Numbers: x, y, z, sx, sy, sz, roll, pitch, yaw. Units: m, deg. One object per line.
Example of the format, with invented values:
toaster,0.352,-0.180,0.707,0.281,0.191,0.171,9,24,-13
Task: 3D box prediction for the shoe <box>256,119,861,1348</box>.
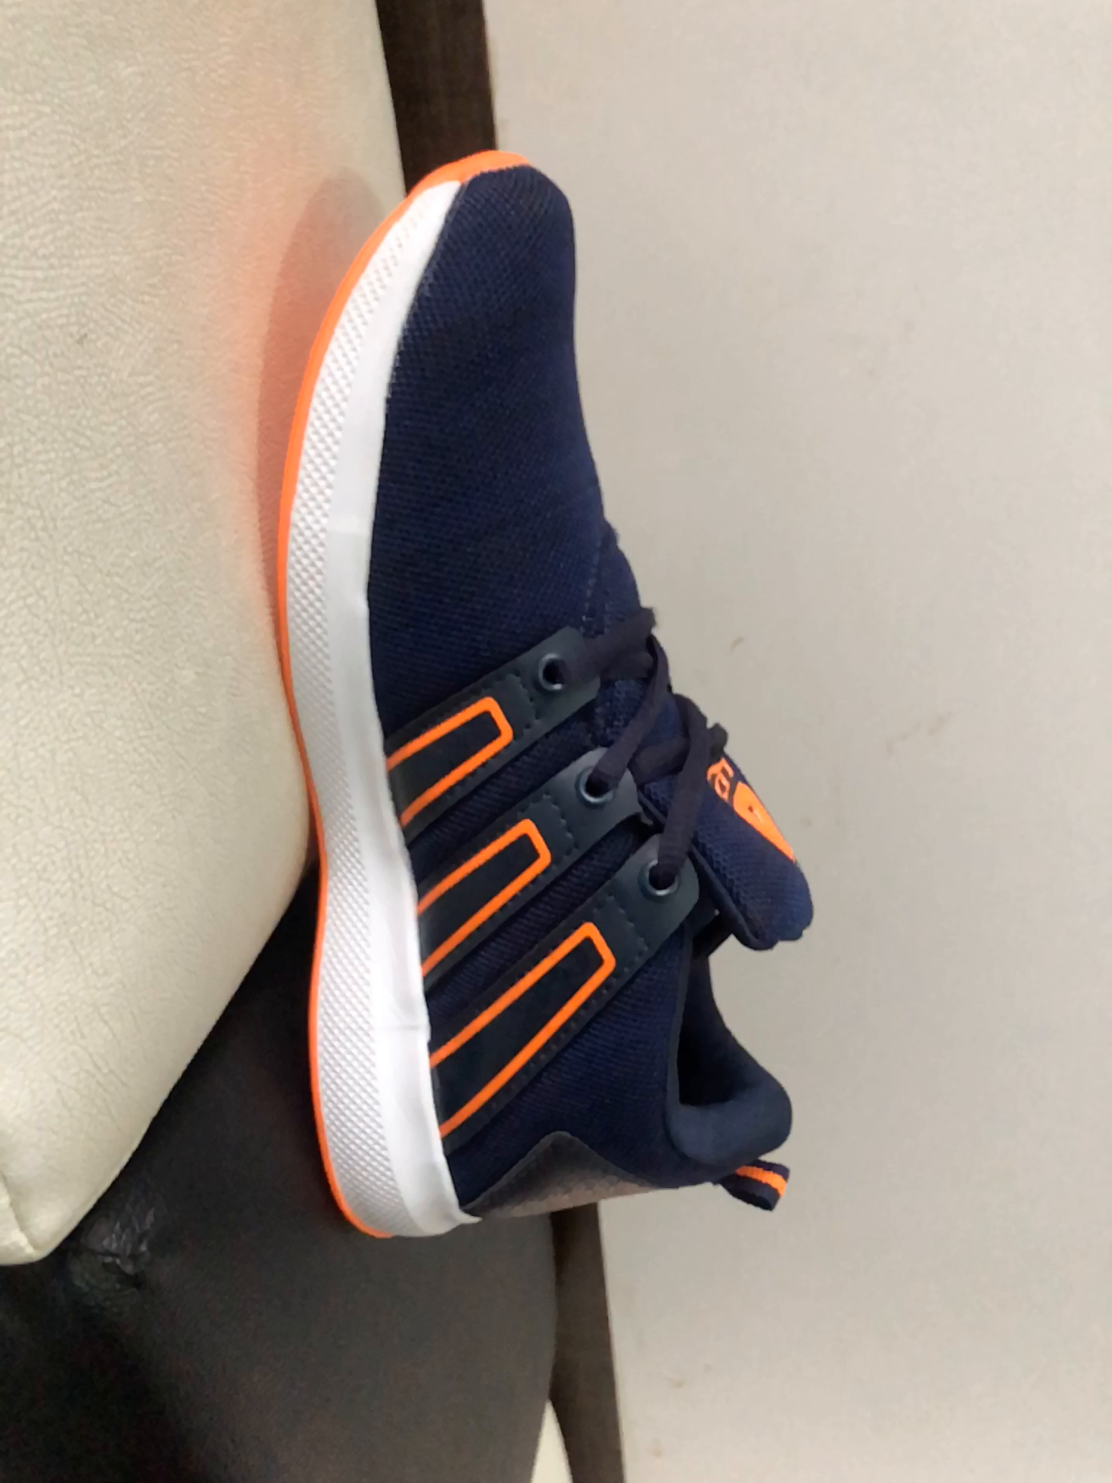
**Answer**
shoe,0.007,-0.002,0.329,0.120,0.110,0.280,-64,157,-66
